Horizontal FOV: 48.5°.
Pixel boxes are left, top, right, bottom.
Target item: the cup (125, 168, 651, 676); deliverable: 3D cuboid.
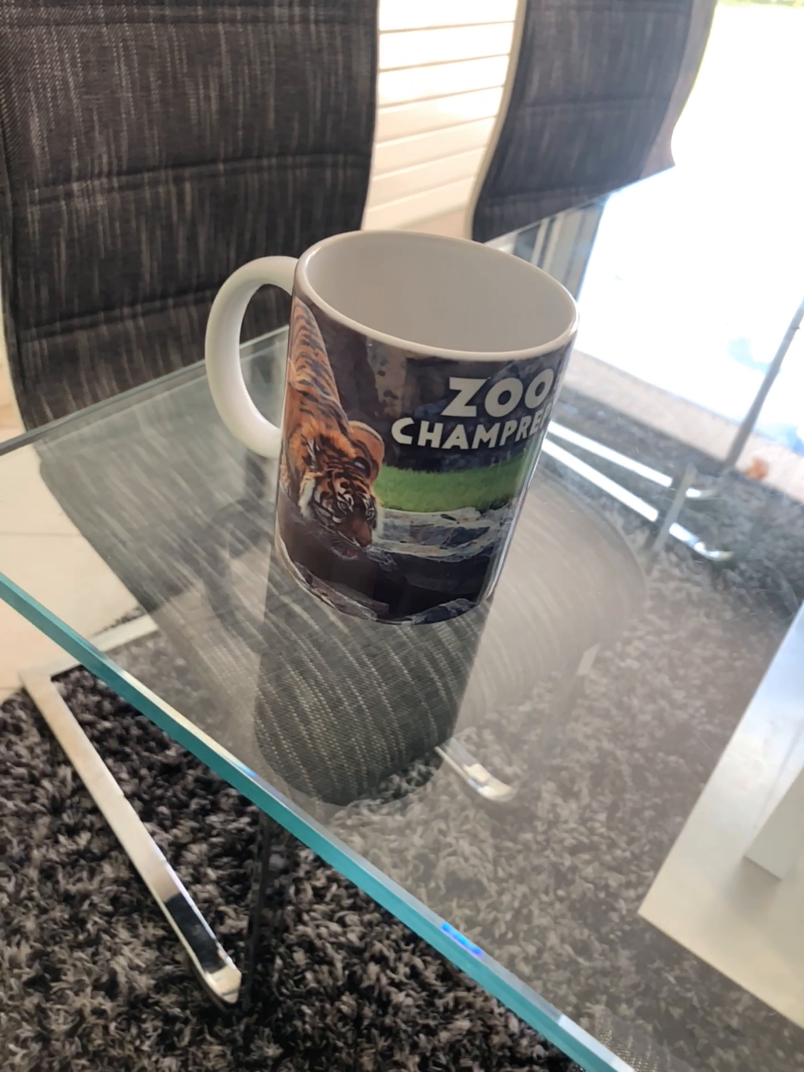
[{"bbox_3d":[-0.008,-0.040,0.269,0.120,0.089,0.081,26,40,17],"label":"cup"}]
